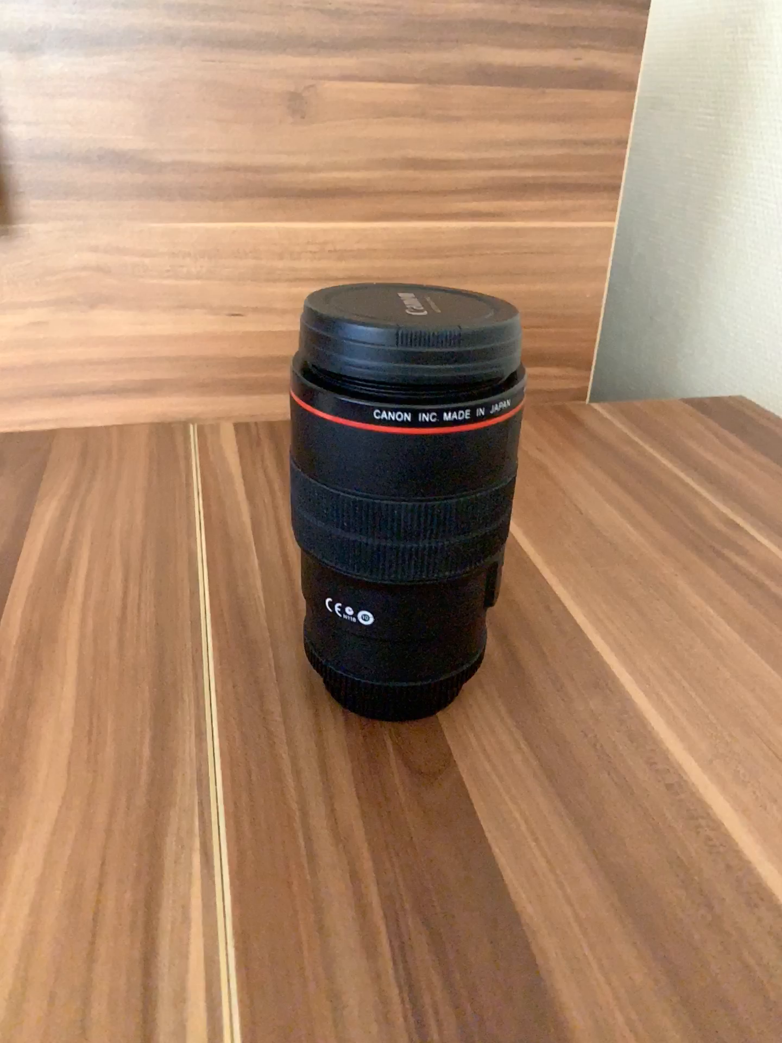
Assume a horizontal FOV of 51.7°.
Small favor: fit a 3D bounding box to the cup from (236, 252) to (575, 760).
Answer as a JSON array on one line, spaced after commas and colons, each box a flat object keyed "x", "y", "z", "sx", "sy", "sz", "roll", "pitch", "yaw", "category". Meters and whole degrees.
[{"x": -0.001, "y": -0.009, "z": 0.273, "sx": 0.070, "sy": 0.139, "sz": 0.080, "roll": -13, "pitch": 32, "yaw": -26, "category": "cup"}]
